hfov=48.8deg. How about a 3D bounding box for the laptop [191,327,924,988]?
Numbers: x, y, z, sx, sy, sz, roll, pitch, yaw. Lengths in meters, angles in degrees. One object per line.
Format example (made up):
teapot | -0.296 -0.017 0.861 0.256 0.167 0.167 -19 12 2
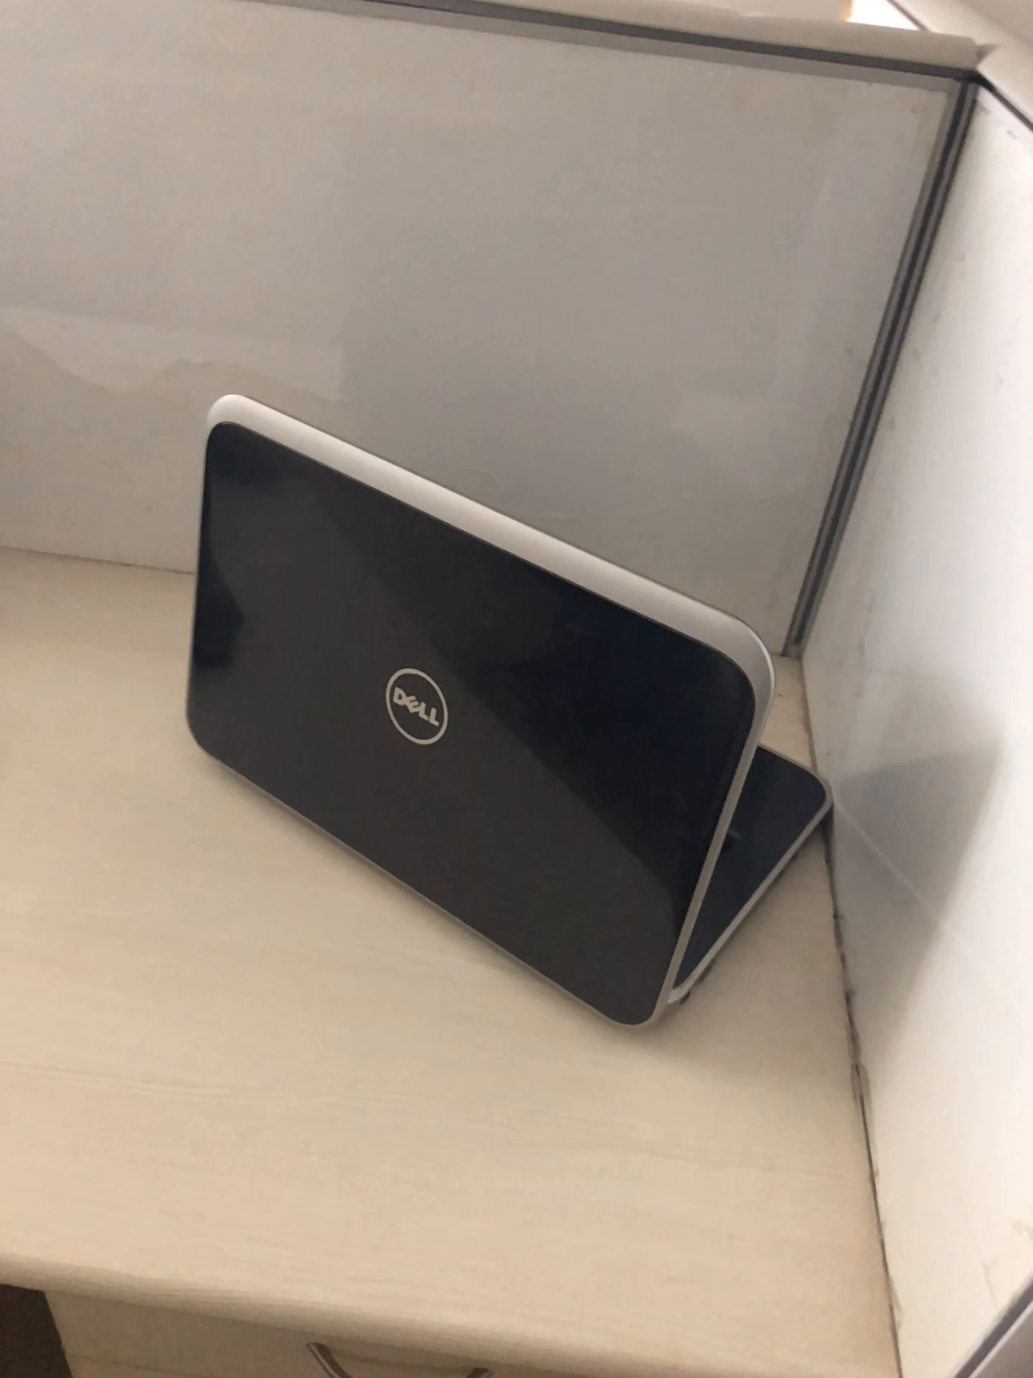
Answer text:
laptop | 0.019 -0.043 0.702 0.334 0.217 0.240 28 40 23
